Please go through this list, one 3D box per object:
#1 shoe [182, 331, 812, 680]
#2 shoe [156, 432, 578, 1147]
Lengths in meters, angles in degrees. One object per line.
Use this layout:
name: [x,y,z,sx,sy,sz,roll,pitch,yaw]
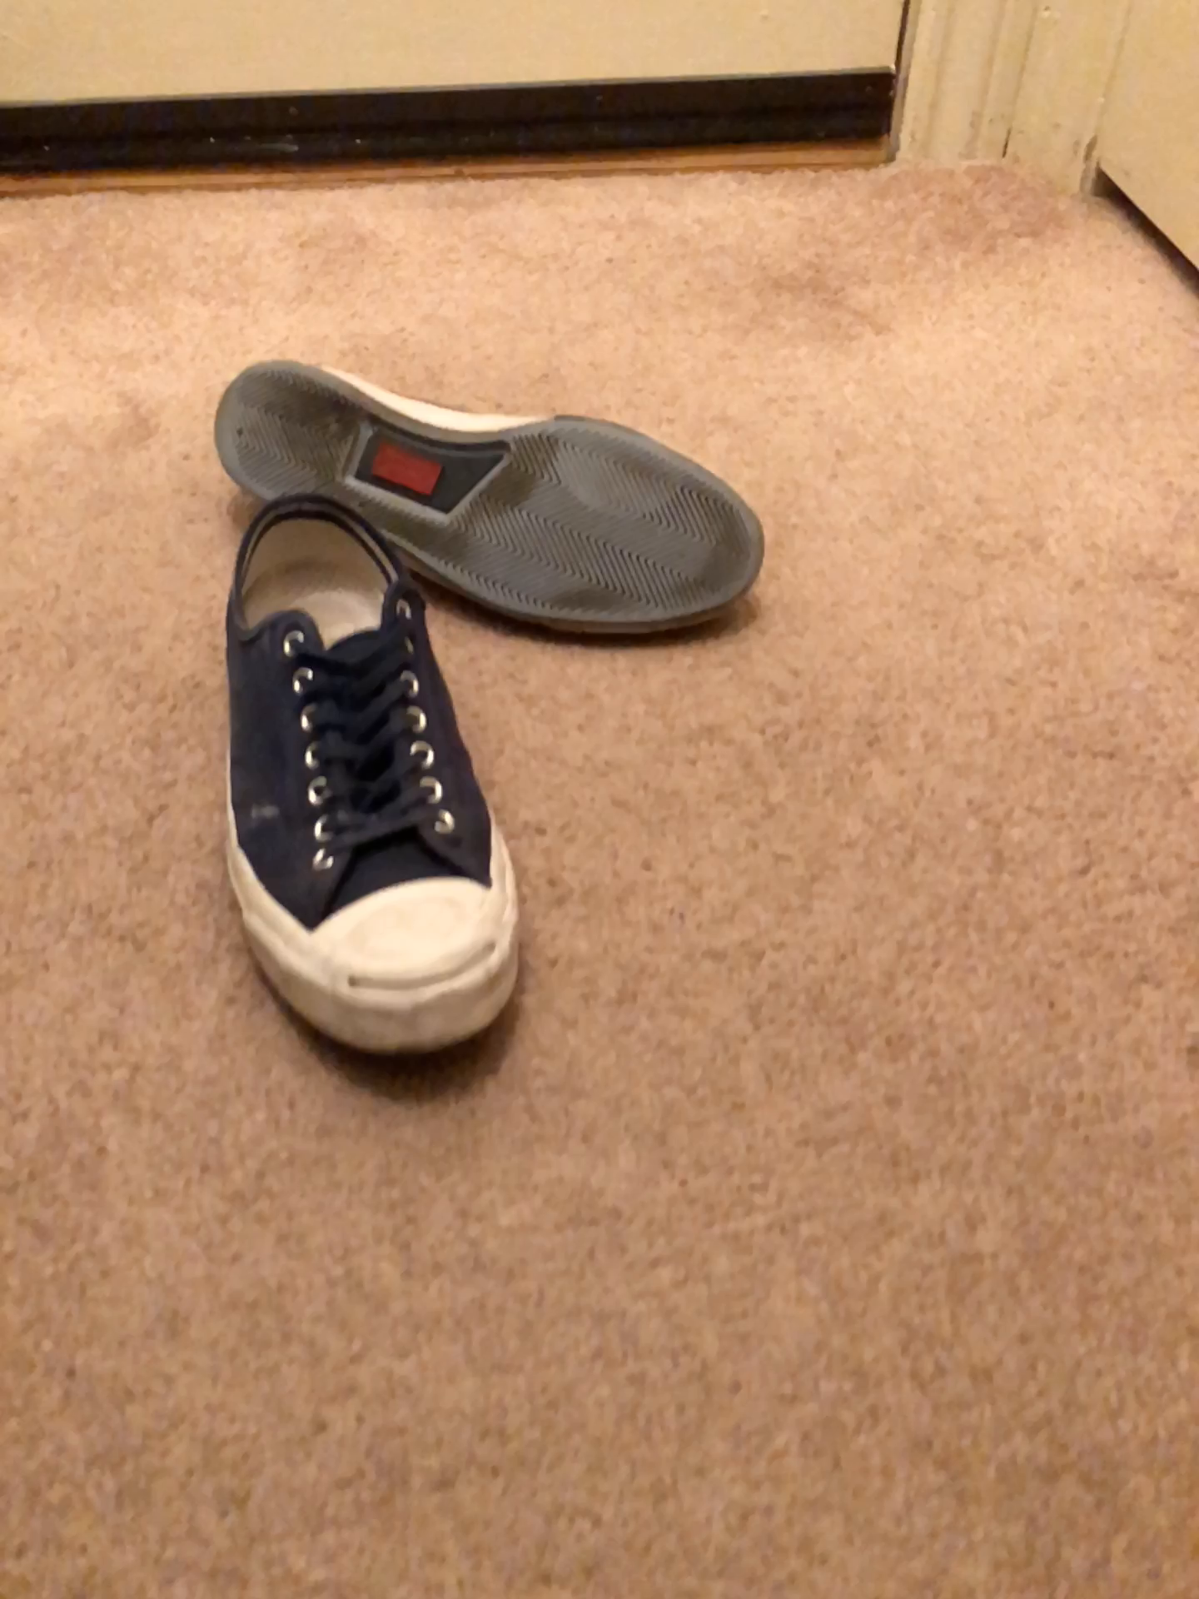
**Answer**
shoe: [-0.054,-0.157,0.677,0.296,0.104,0.099,16,20,13]
shoe: [-0.102,-0.024,0.529,0.116,0.099,0.287,-11,47,-11]
